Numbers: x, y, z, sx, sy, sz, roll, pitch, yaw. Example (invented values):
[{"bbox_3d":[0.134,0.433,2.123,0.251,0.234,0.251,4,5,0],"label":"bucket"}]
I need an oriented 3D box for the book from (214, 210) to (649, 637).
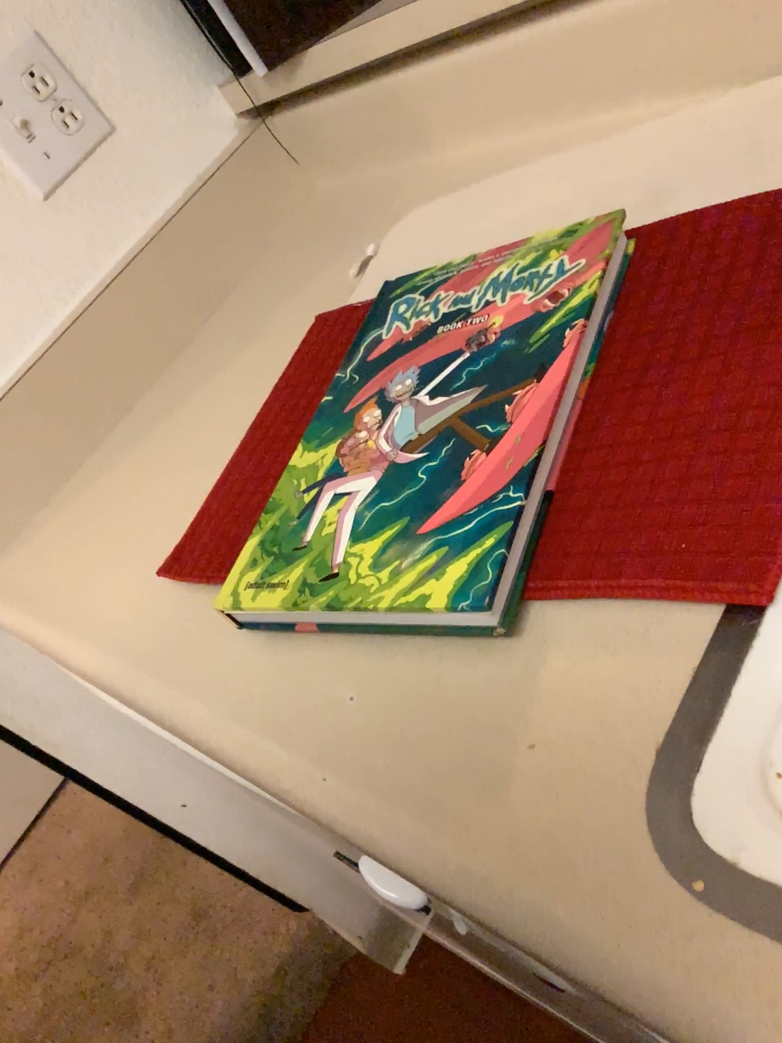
[{"bbox_3d":[0.031,-0.066,0.550,0.200,0.030,0.300,-4,49,39],"label":"book"}]
